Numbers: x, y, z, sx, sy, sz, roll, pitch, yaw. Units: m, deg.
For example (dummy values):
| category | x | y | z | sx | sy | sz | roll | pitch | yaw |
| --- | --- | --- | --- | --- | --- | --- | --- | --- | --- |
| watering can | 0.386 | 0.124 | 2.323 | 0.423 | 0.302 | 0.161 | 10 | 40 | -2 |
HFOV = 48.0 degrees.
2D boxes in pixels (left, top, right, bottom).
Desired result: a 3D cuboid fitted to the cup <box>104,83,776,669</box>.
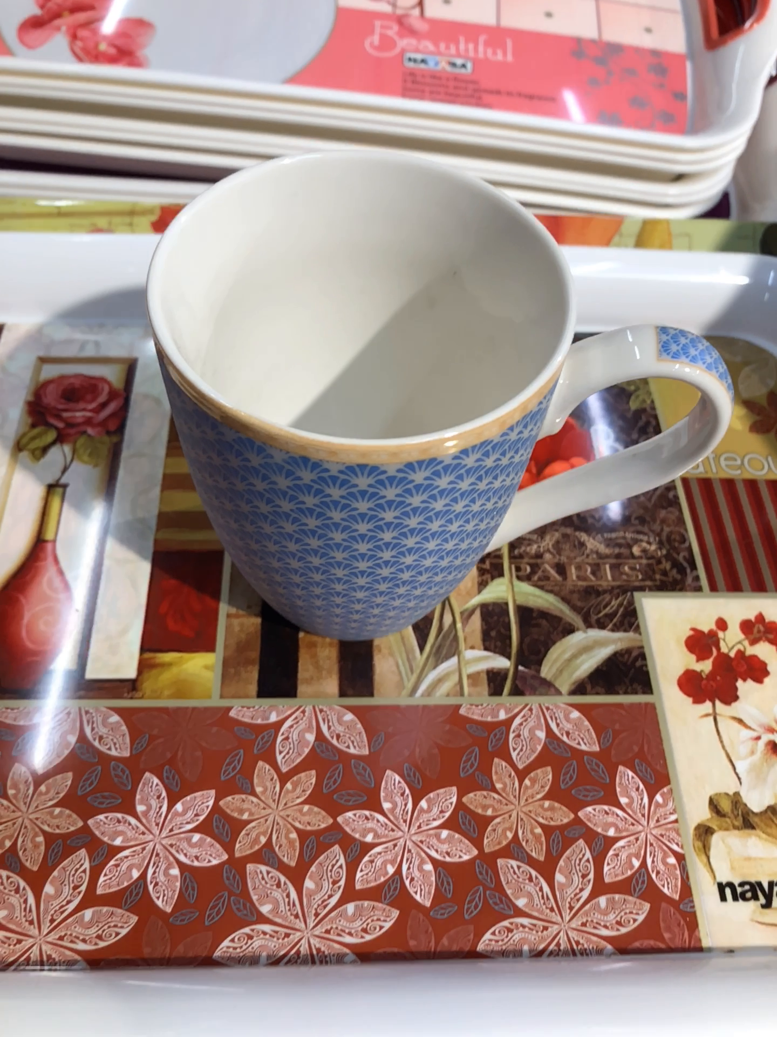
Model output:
| category | x | y | z | sx | sy | sz | roll | pitch | yaw |
| --- | --- | --- | --- | --- | --- | --- | --- | --- | --- |
| cup | 0.011 | -0.026 | 0.199 | 0.120 | 0.099 | 0.080 | 0 | 53 | -6 |
